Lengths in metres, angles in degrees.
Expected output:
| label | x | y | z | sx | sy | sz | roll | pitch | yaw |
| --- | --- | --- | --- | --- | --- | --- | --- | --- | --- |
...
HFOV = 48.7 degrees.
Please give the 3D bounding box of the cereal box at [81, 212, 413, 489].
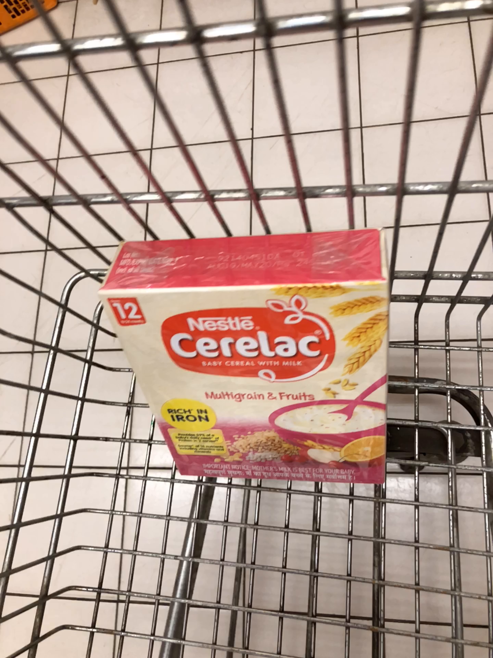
| label | x | y | z | sx | sy | sz | roll | pitch | yaw |
| --- | --- | --- | --- | --- | --- | --- | --- | --- | --- |
| cereal box | 0.013 | 0.026 | 0.341 | 0.160 | 0.189 | 0.050 | -1 | 45 | 12 |
